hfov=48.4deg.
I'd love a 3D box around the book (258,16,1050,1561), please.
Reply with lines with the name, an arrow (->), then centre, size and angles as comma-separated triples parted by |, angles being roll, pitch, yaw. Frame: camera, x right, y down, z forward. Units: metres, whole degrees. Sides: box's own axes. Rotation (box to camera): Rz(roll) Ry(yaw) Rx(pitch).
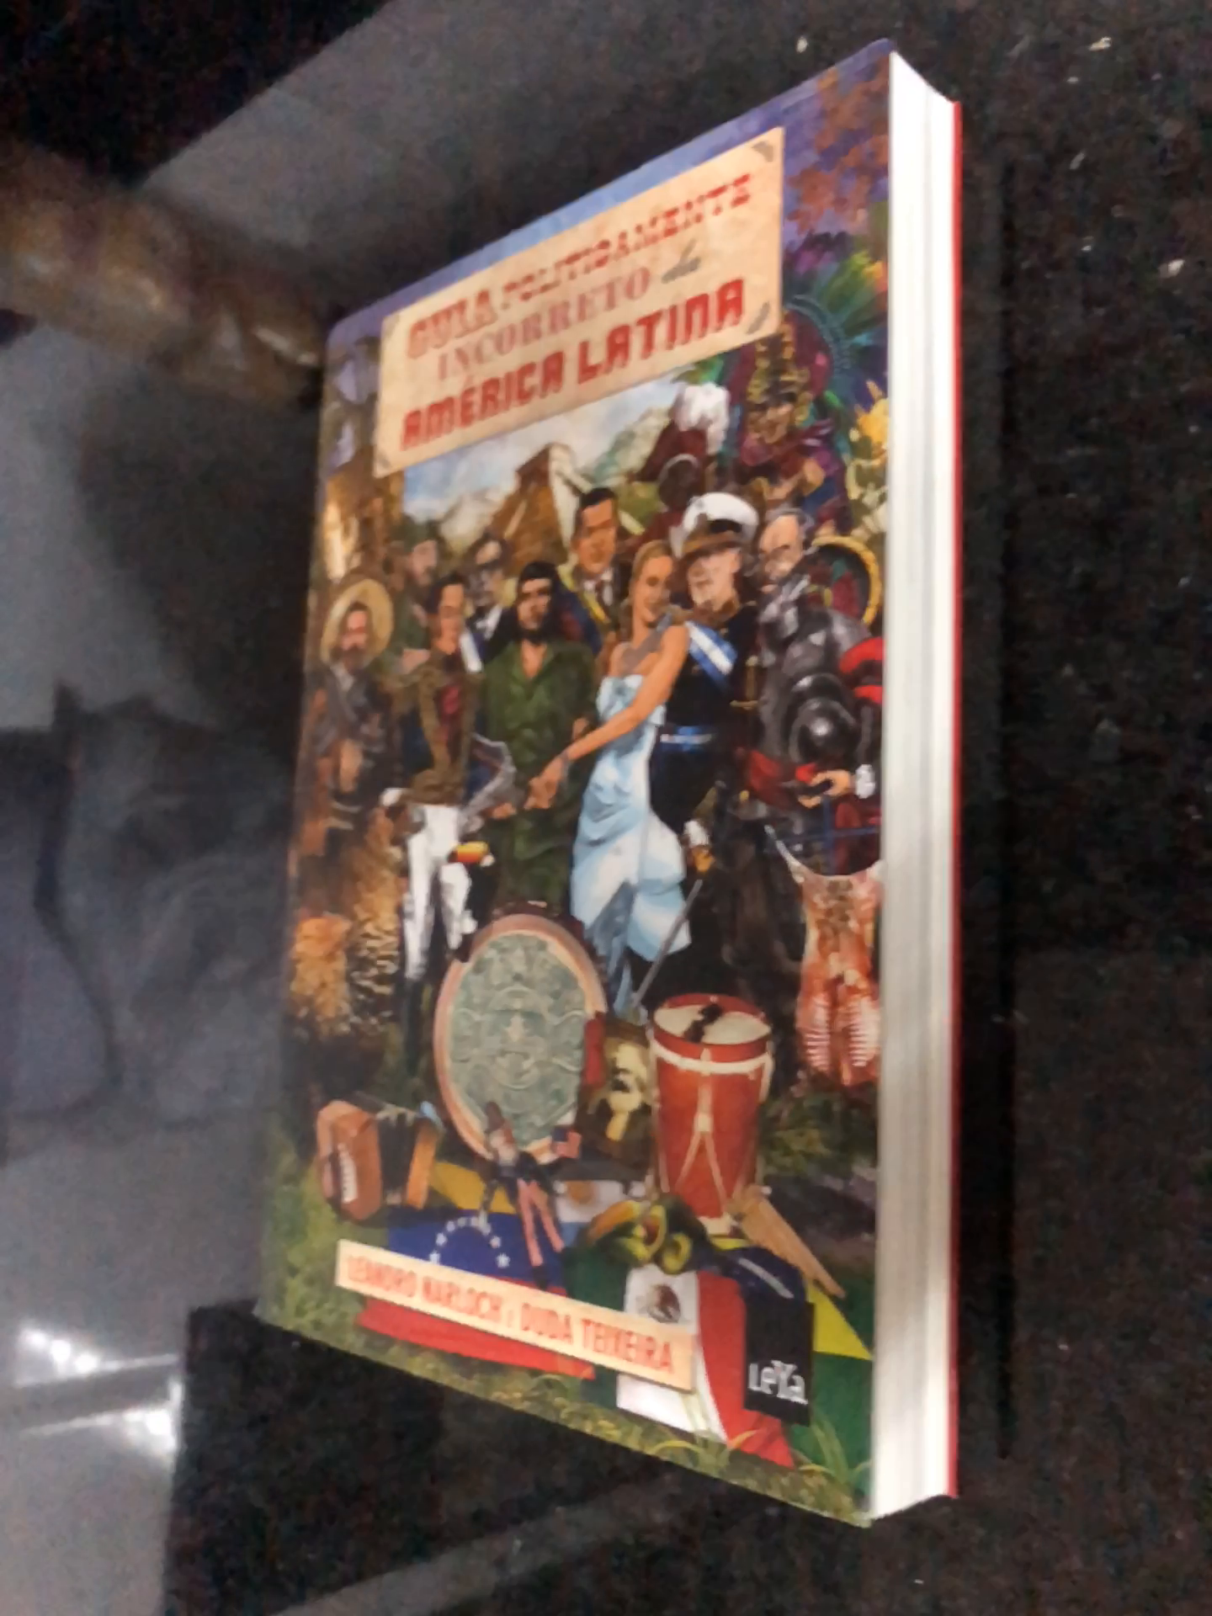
book -> 0.002, -0.004, 0.255 | 0.151, 0.040, 0.220 | -6, 78, 43
